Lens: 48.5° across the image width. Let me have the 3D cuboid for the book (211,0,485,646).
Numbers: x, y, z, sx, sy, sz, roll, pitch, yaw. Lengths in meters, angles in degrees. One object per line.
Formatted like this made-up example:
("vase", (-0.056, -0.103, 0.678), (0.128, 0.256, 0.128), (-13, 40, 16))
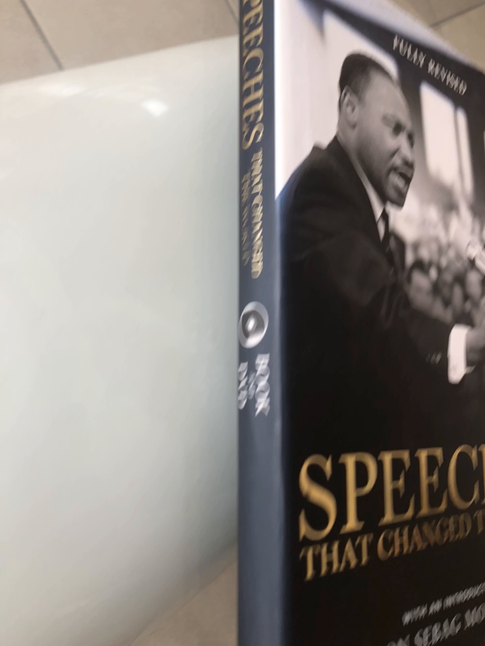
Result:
("book", (0.084, -0.006, 0.246), (0.212, 0.040, 0.290), (7, 77, -39))
